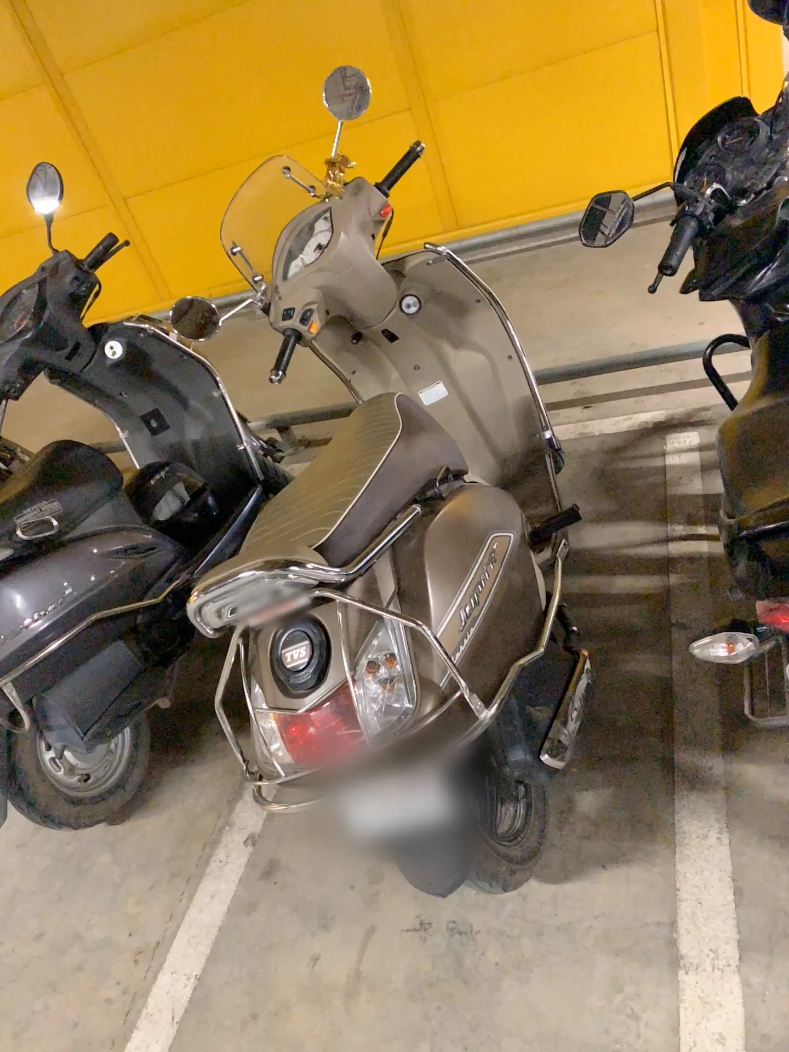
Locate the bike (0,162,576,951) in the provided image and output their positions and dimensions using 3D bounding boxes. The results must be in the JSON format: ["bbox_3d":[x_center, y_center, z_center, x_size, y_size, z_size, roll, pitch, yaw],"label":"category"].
[{"bbox_3d":[-0.077,-0.080,1.813,0.604,1.027,1.562,-13,31,13],"label":"bike"}]
